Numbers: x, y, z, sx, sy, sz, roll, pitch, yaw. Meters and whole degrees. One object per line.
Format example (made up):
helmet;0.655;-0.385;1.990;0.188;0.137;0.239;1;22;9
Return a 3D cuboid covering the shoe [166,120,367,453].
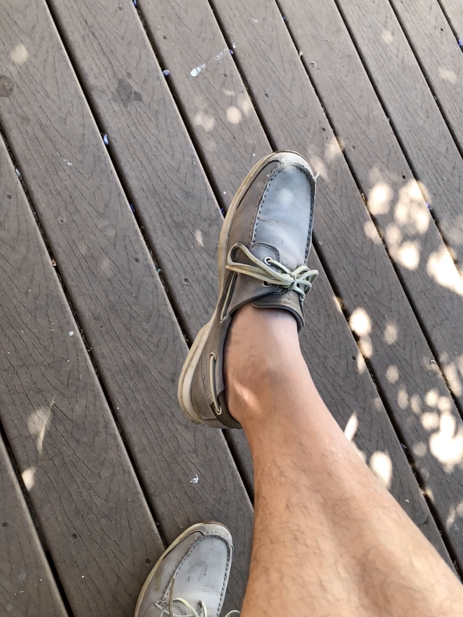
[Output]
shoe;0.035;-0.021;0.539;0.115;0.085;0.306;17;84;-15
